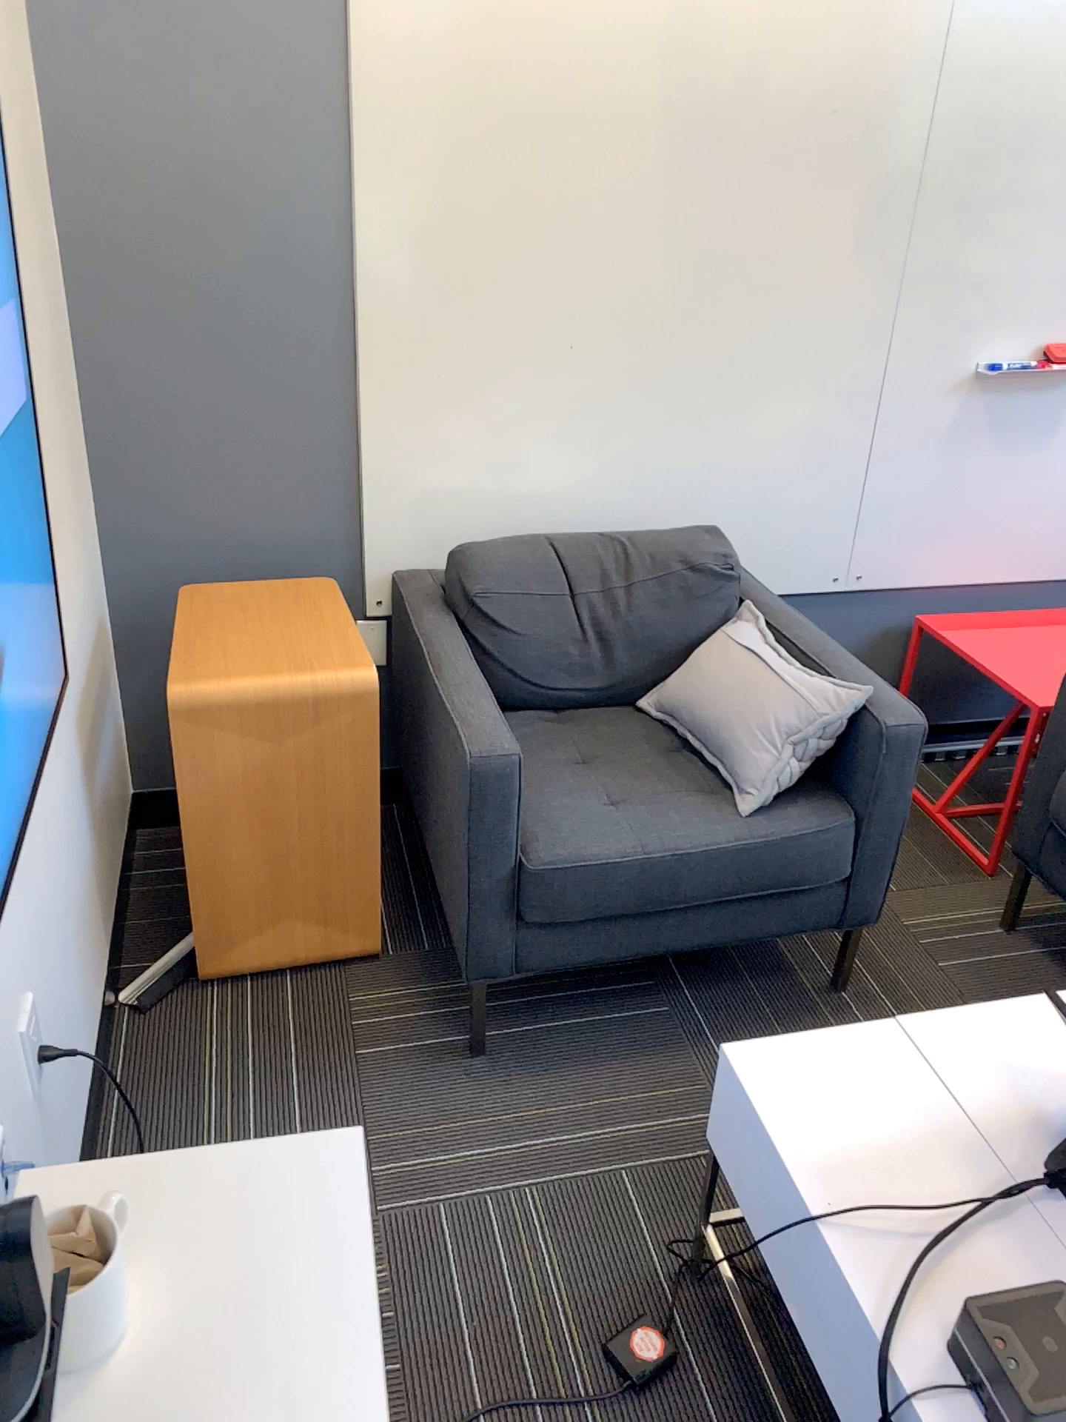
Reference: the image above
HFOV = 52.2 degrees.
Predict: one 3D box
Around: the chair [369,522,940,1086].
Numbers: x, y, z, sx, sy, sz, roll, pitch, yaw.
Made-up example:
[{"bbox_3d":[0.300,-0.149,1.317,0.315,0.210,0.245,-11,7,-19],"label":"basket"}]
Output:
[{"bbox_3d":[0.144,0.108,2.309,0.840,0.716,0.946,-5,29,-15],"label":"chair"}]
